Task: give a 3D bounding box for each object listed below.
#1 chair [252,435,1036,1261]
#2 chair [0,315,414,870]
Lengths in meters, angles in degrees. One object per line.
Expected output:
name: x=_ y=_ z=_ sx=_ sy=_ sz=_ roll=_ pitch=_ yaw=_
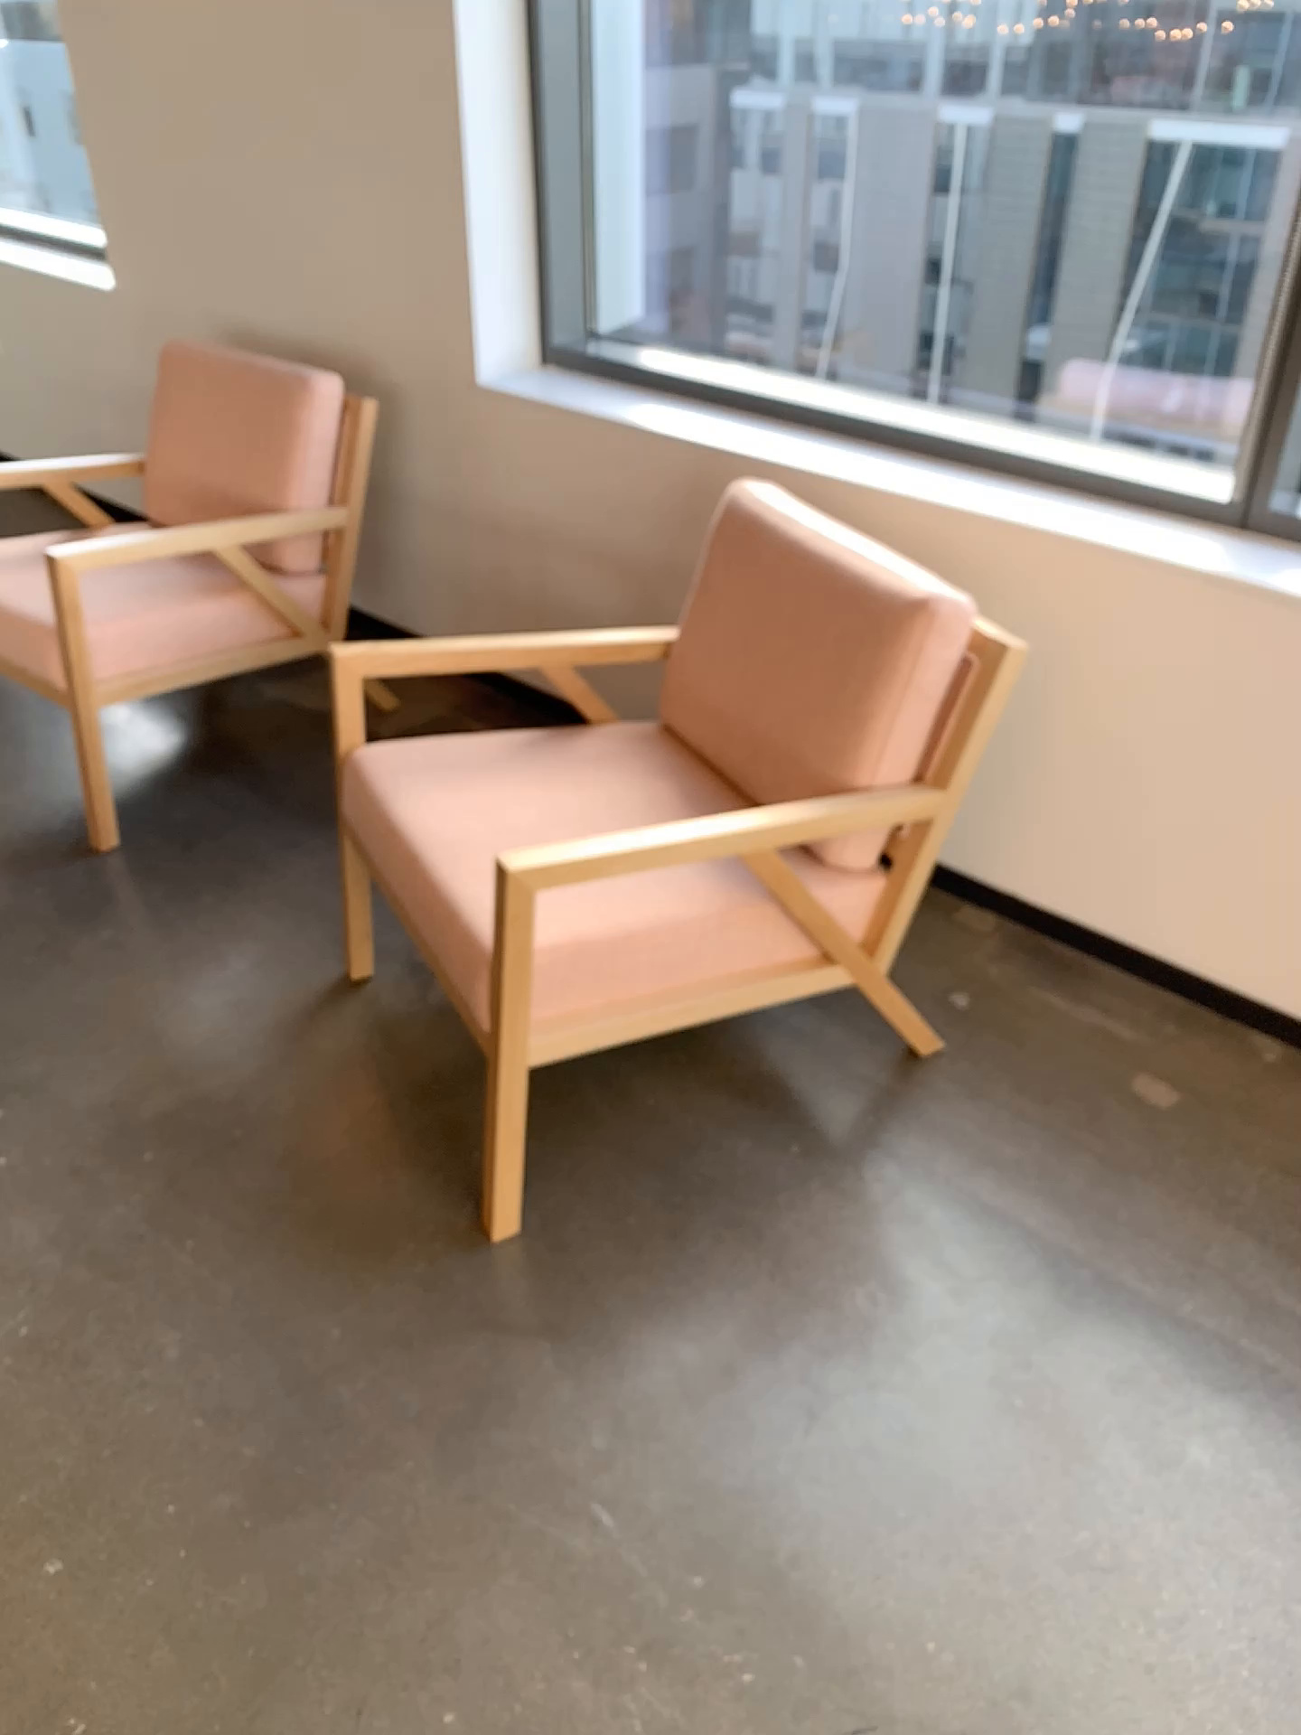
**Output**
chair: x=-0.054 y=-0.095 z=1.970 sx=0.770 sy=0.795 sz=0.745 roll=-14 pitch=36 yaw=-23
chair: x=-1.073 y=-0.624 z=2.822 sx=0.743 sy=0.795 sz=0.772 roll=26 pitch=42 yaw=34
